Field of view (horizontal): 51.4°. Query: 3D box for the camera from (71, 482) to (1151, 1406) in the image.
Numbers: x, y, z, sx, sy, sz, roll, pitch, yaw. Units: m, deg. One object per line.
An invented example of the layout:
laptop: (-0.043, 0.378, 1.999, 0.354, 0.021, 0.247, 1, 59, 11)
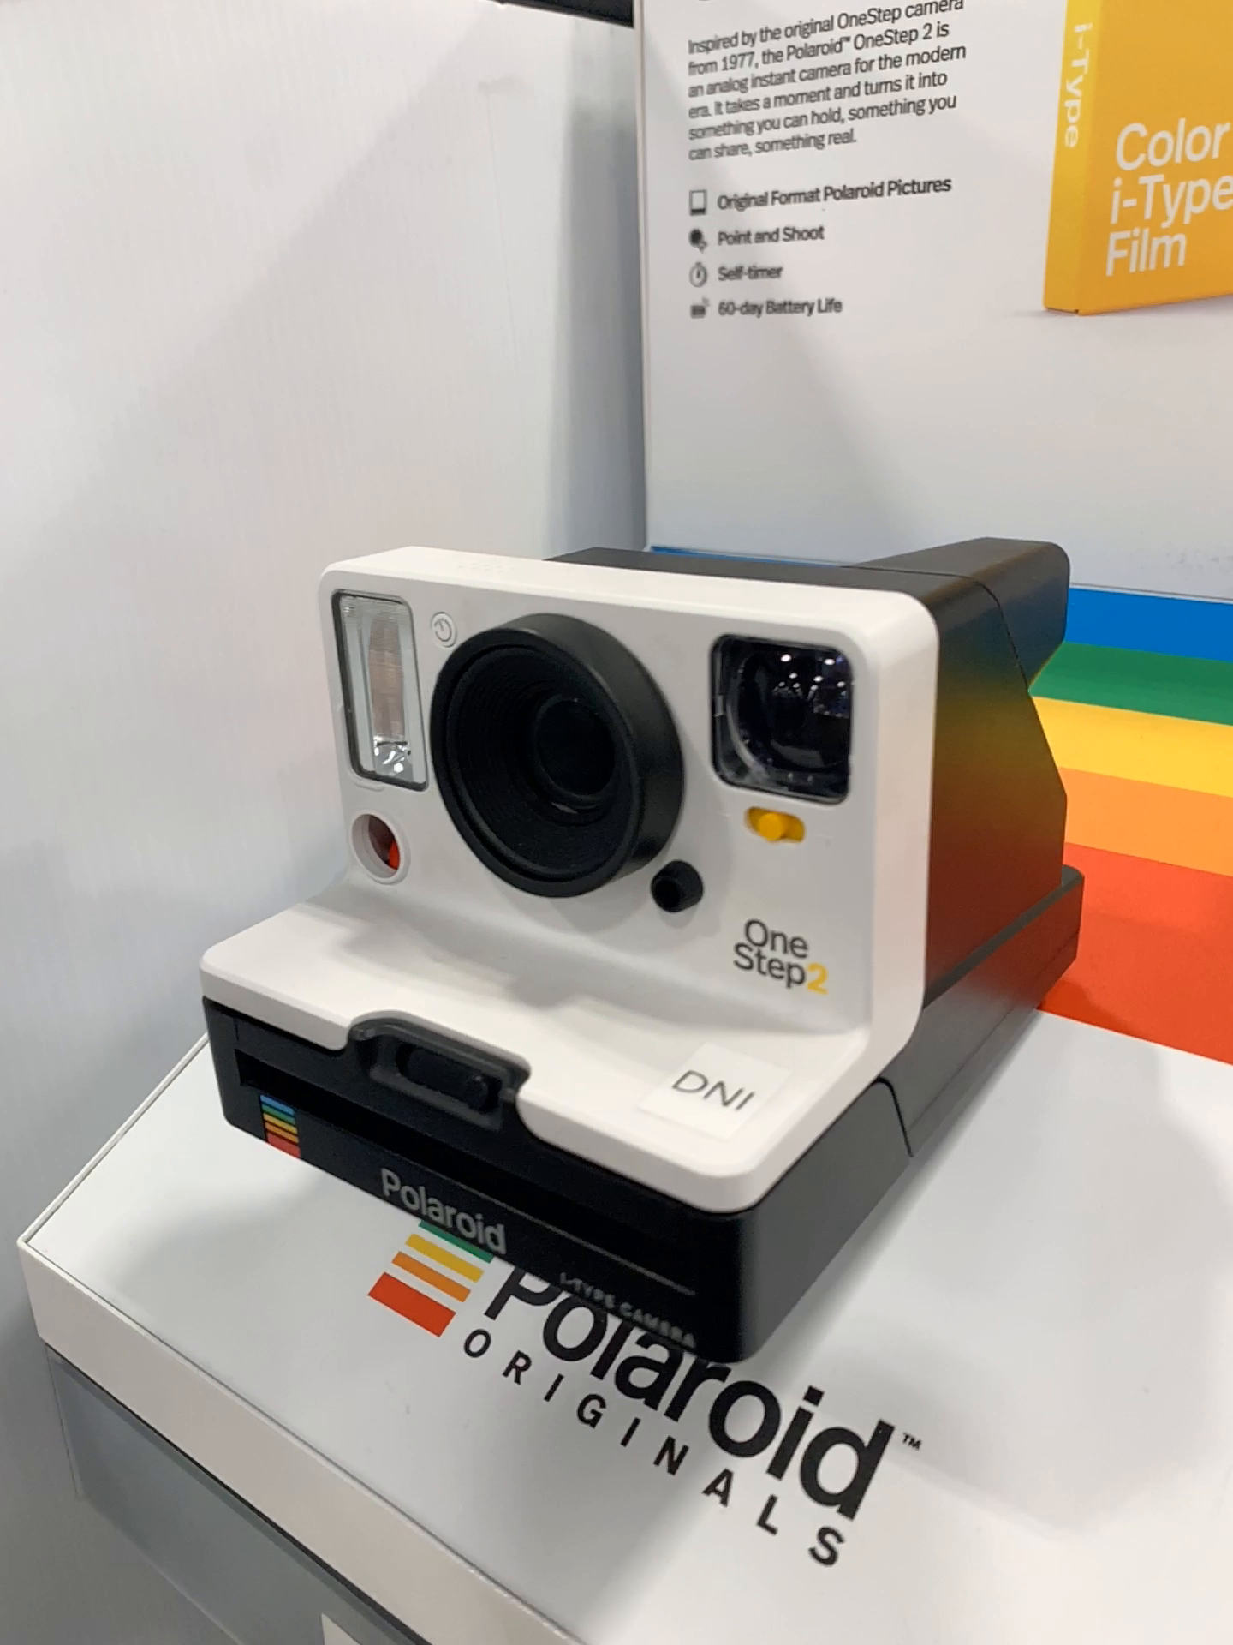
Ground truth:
camera: (0.009, -0.003, 0.232, 0.120, 0.090, 0.145, 14, 27, 34)
